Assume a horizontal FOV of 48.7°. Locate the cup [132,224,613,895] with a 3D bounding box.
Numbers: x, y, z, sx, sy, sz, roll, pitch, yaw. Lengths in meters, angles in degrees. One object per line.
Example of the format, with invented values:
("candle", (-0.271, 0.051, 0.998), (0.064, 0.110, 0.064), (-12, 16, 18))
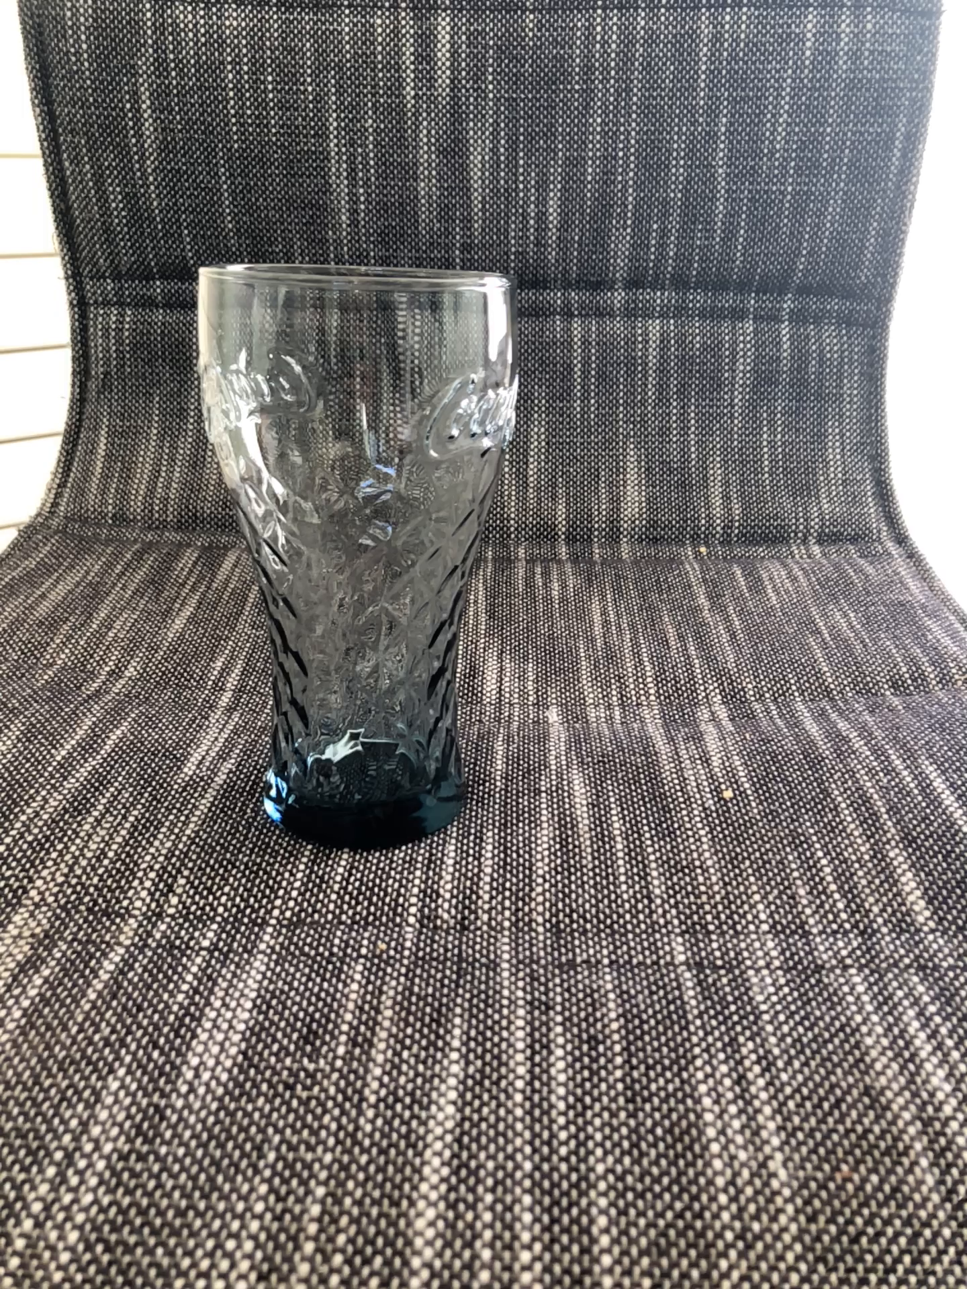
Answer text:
("cup", (-0.028, -0.028, 0.272), (0.080, 0.139, 0.080), (4, 18, -1))
